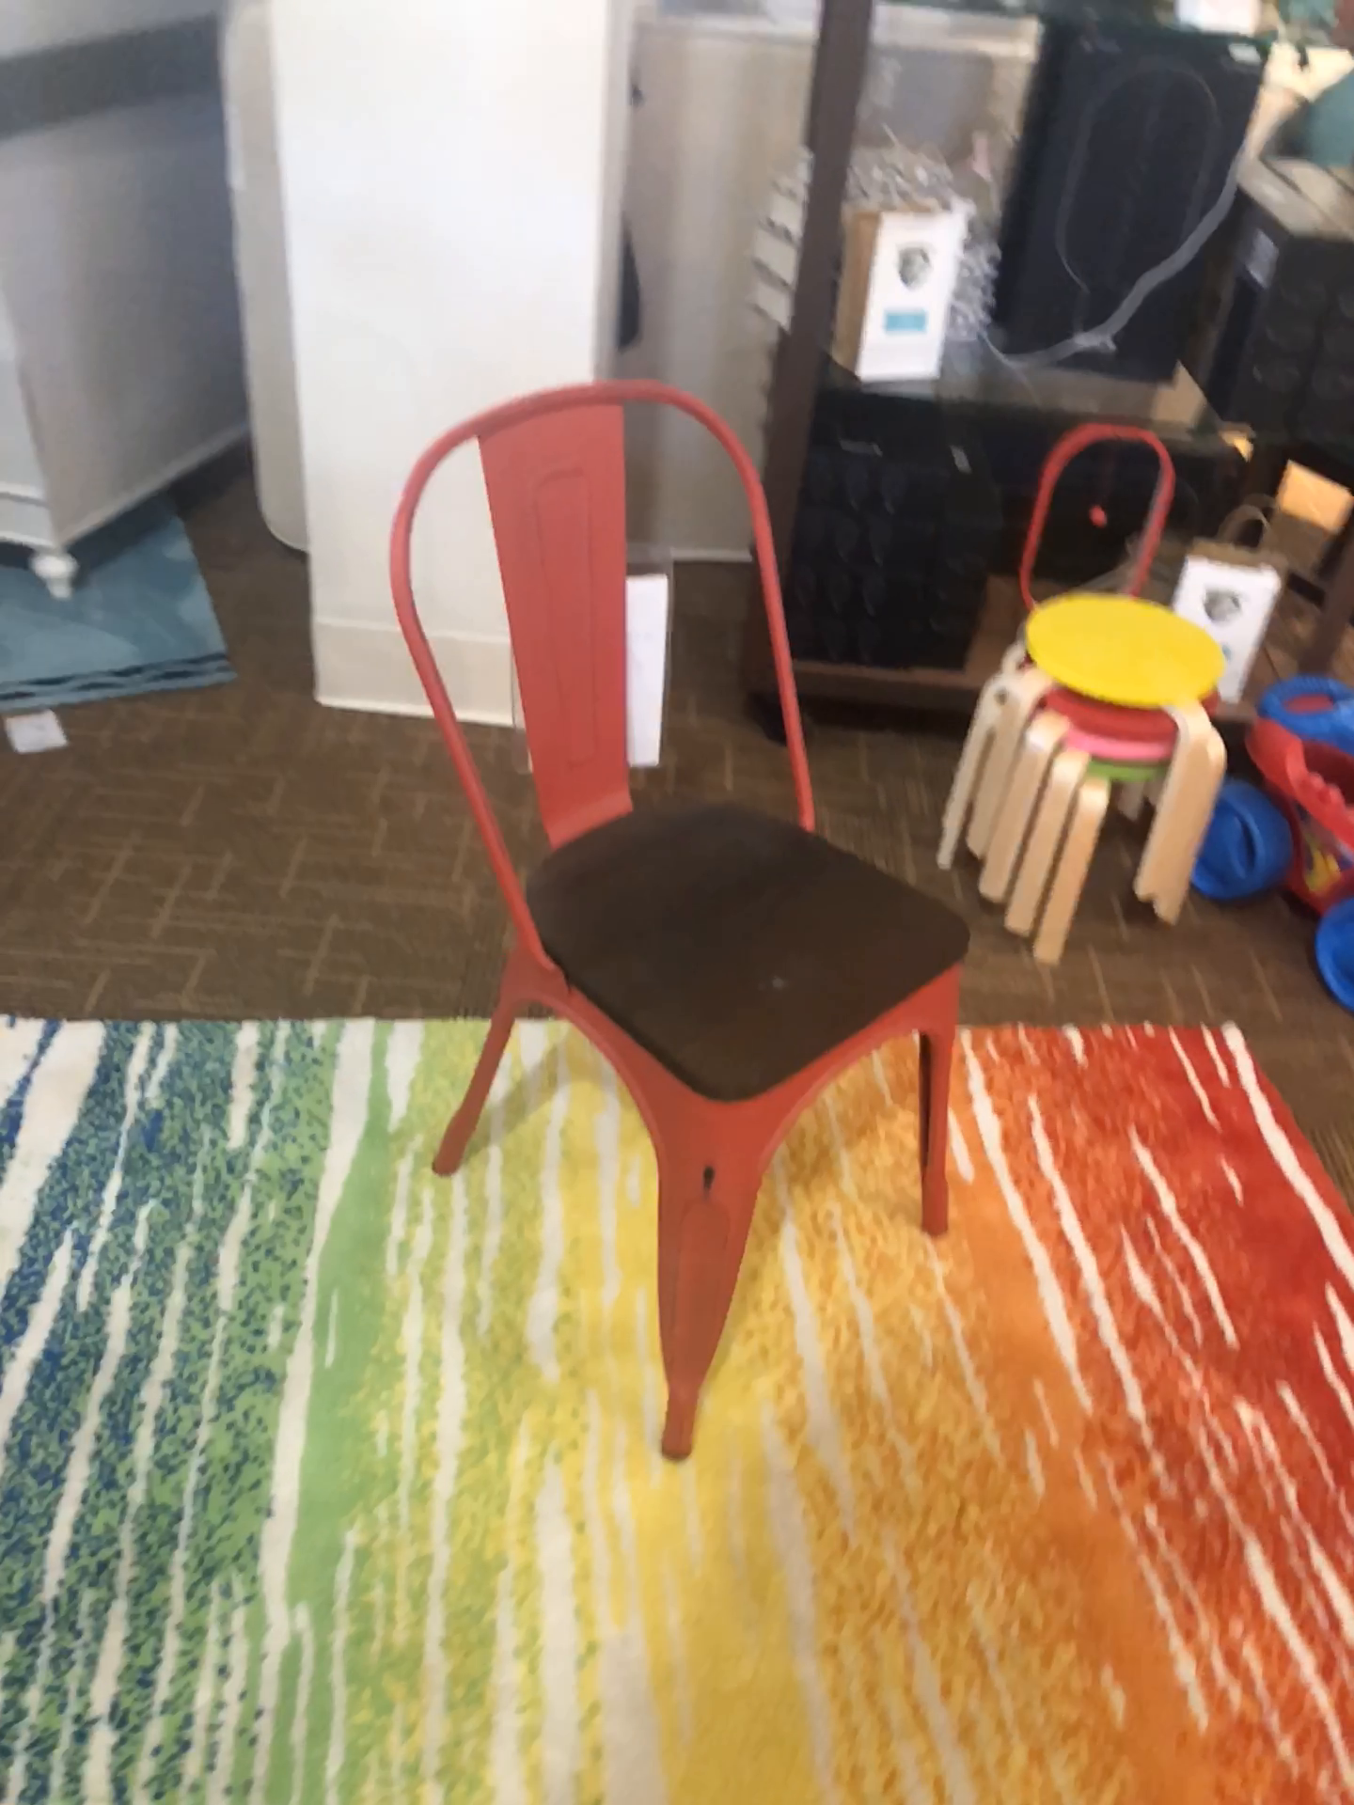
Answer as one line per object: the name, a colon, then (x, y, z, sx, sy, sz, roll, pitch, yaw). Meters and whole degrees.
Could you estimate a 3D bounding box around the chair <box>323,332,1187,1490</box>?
chair: (0.022, 0.004, 1.386, 0.451, 0.855, 0.491, -27, 48, -37)
